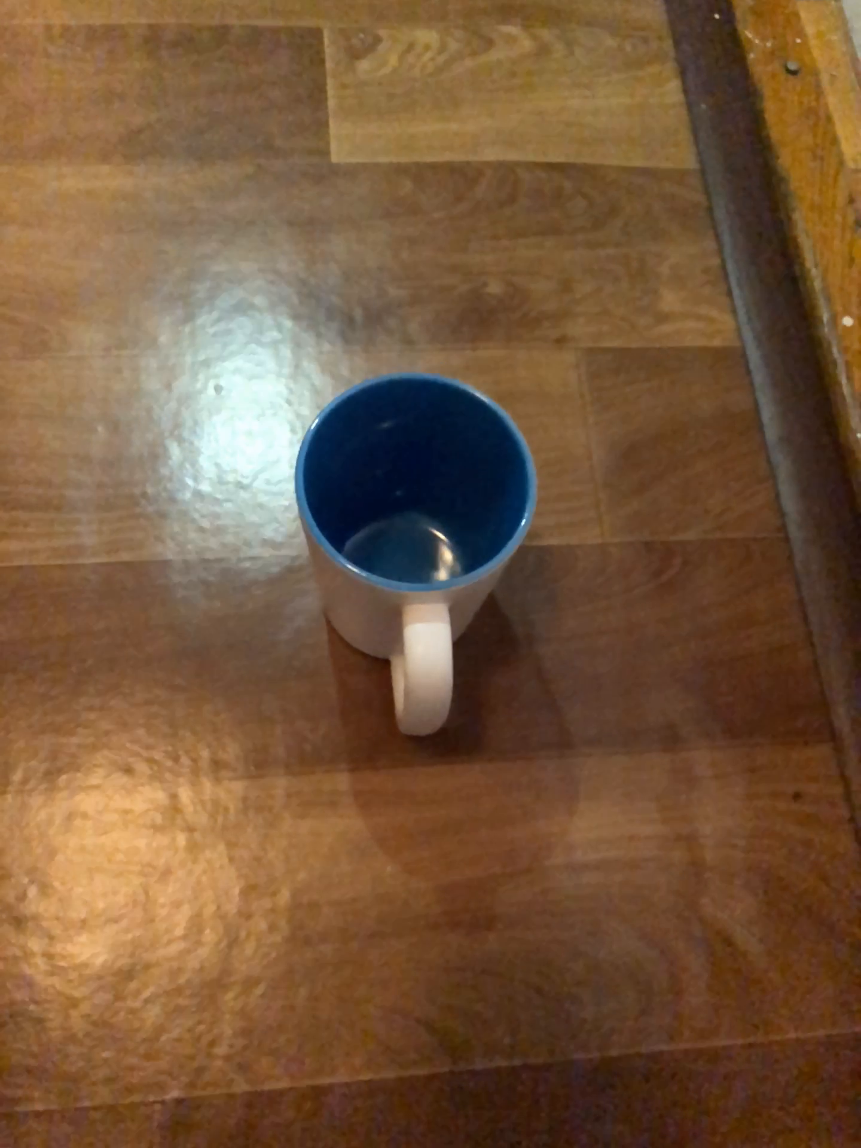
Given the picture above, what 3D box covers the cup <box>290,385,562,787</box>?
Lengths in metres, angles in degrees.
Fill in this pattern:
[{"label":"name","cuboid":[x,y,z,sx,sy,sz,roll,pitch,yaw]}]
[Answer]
[{"label":"cup","cuboid":[-0.006,0.012,0.382,0.088,0.112,0.130,1,70,-5]}]
